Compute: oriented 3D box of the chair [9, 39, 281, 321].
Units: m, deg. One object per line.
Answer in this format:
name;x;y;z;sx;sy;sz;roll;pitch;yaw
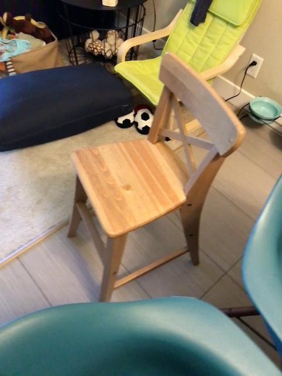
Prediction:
chair;-0.018;0.021;0.959;0.492;0.686;0.441;-20;61;-19
